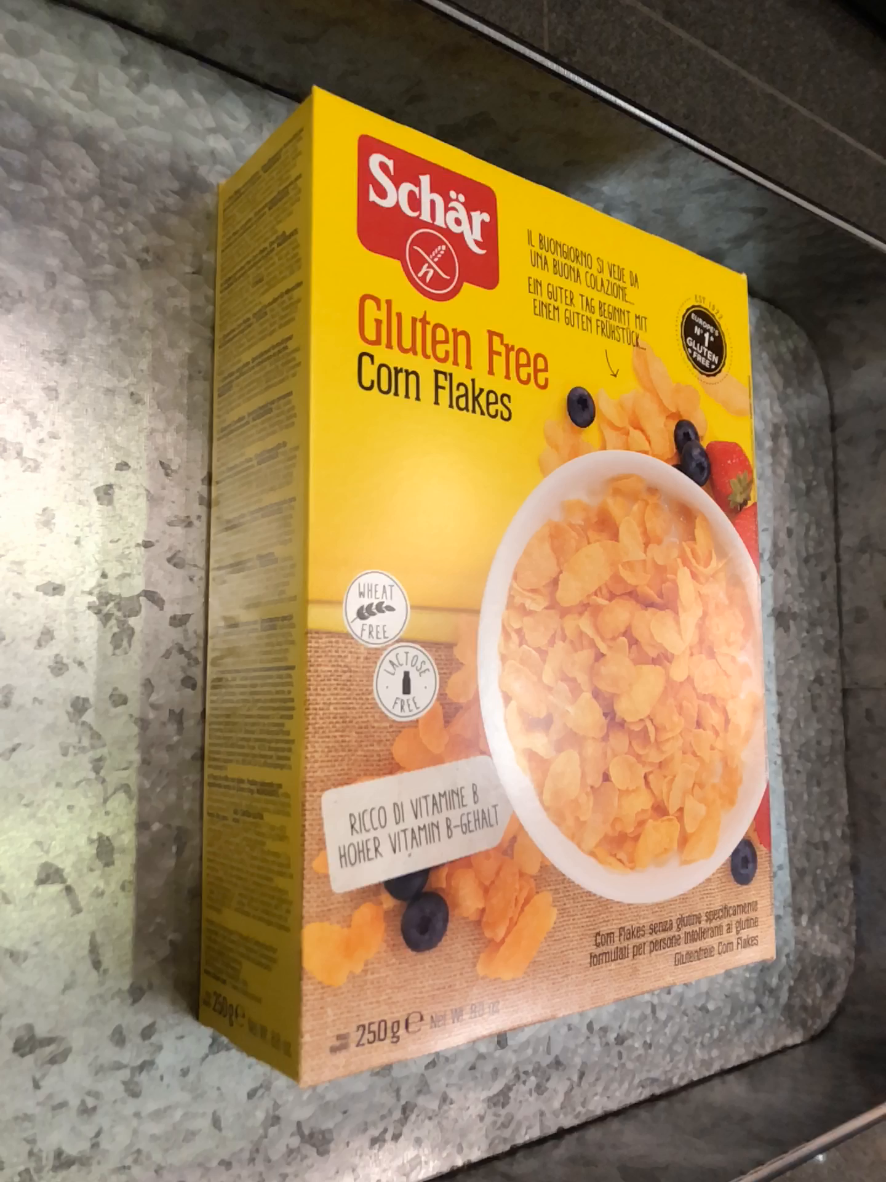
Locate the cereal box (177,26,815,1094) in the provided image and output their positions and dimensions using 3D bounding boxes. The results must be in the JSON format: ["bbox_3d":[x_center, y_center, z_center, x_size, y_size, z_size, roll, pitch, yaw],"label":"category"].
[{"bbox_3d":[0.027,-0.005,0.317,0.201,0.070,0.250,5,82,-38],"label":"cereal box"}]
